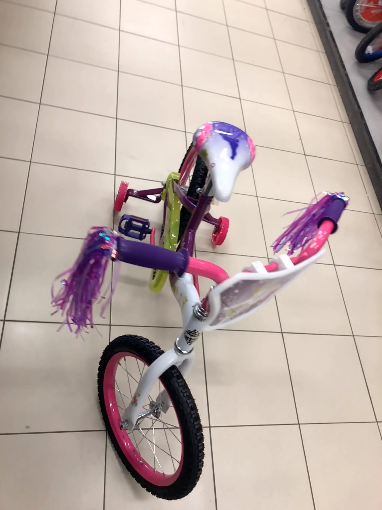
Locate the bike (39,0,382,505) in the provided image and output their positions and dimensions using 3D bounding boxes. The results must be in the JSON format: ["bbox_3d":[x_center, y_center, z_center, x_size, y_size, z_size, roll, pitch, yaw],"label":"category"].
[{"bbox_3d":[0.056,-0.025,1.034,0.595,0.810,1.070,11,57,-14],"label":"bike"}]
